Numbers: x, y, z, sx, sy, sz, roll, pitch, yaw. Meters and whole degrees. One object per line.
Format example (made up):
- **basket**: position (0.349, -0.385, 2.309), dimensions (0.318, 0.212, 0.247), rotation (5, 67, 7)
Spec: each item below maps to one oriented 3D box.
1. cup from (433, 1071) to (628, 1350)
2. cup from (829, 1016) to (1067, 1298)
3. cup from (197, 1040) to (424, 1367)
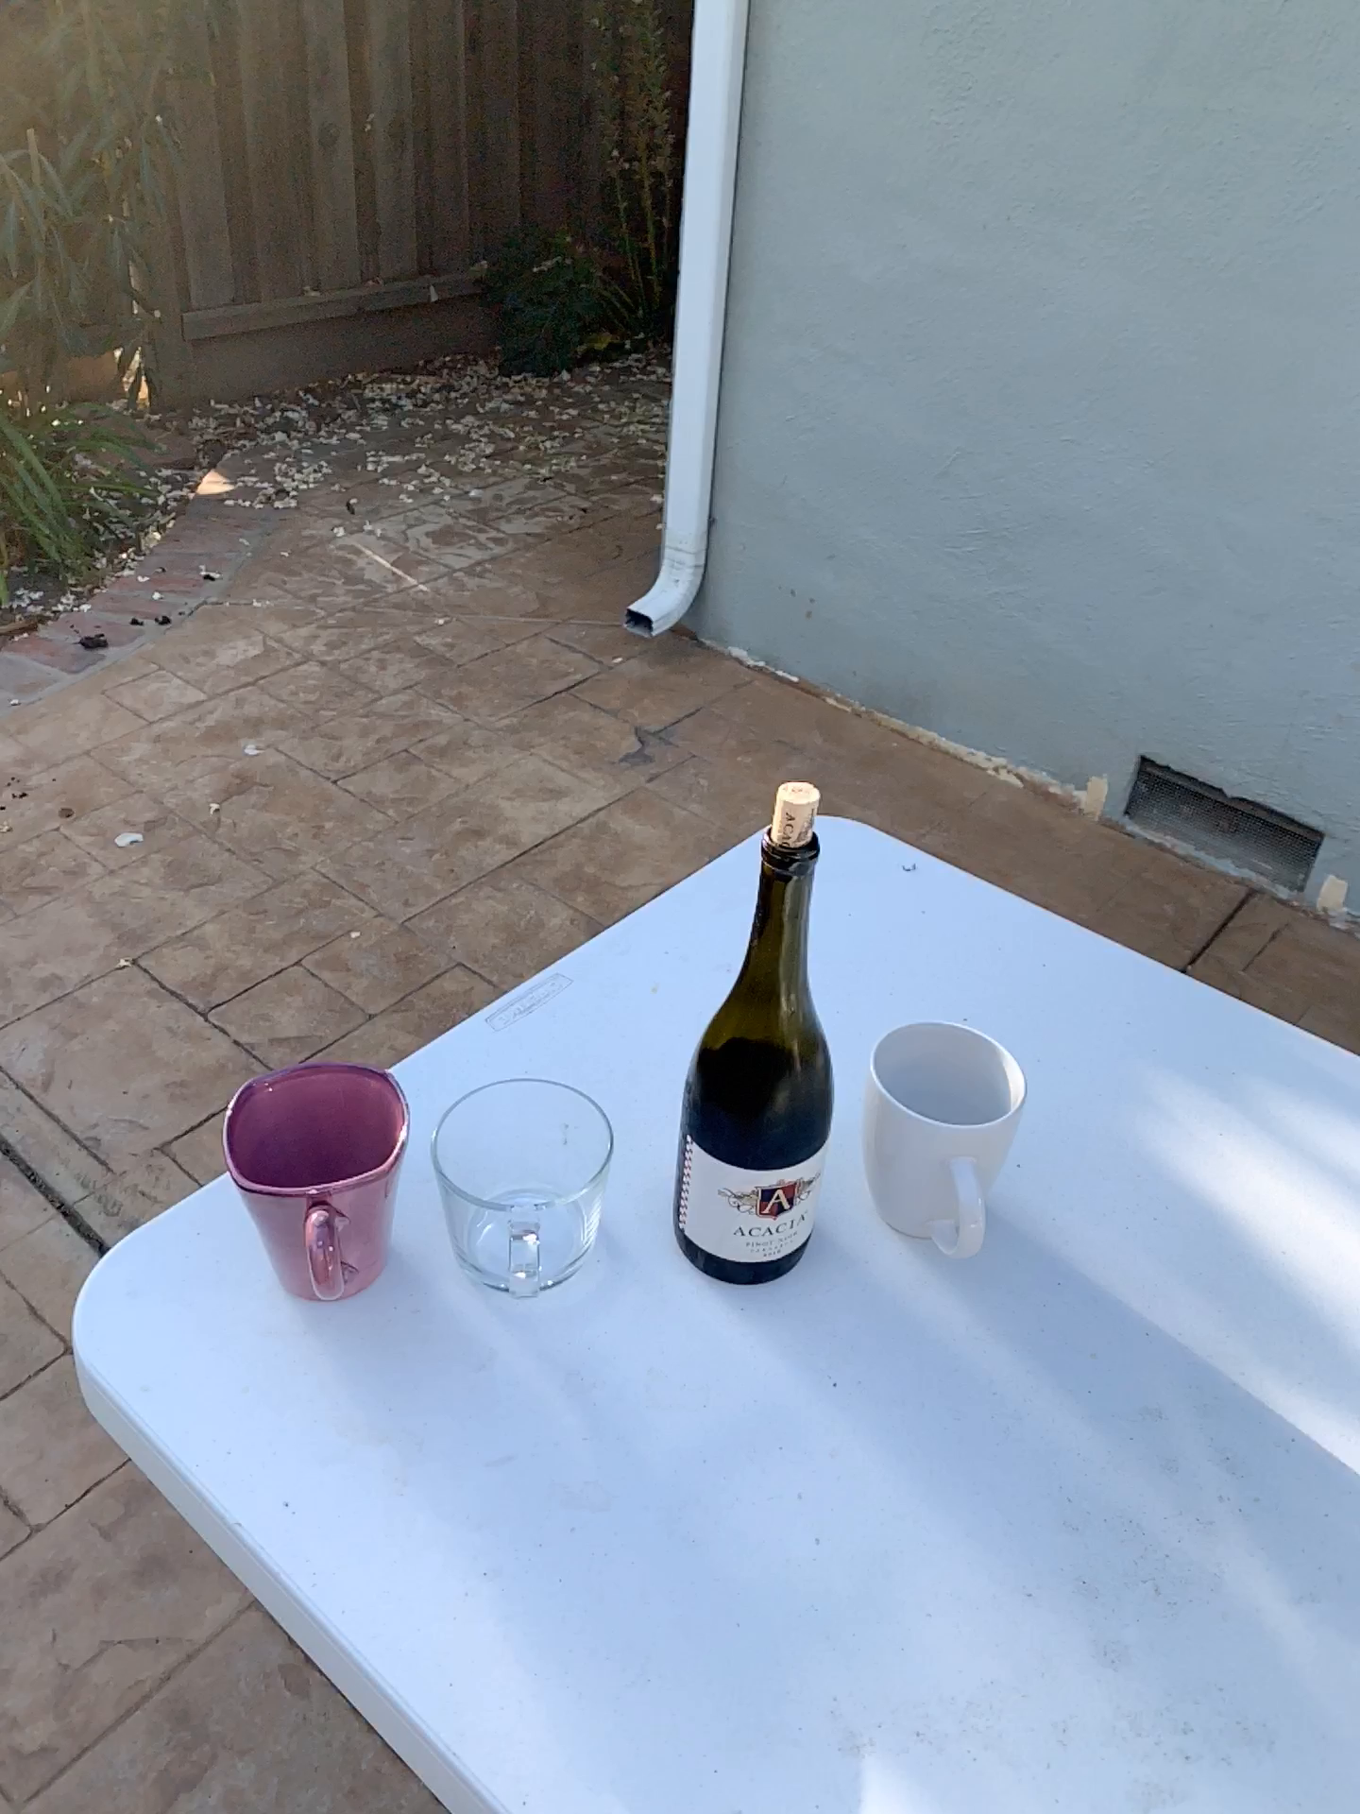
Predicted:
- **cup**: position (-0.087, 0.169, 0.792), dimensions (0.100, 0.080, 0.131), rotation (-1, 36, -8)
- **cup**: position (0.148, 0.141, 0.803), dimensions (0.090, 0.099, 0.121), rotation (-1, 36, -8)
- **cup**: position (-0.195, 0.159, 0.765), dimensions (0.100, 0.109, 0.131), rotation (-1, 36, -8)
